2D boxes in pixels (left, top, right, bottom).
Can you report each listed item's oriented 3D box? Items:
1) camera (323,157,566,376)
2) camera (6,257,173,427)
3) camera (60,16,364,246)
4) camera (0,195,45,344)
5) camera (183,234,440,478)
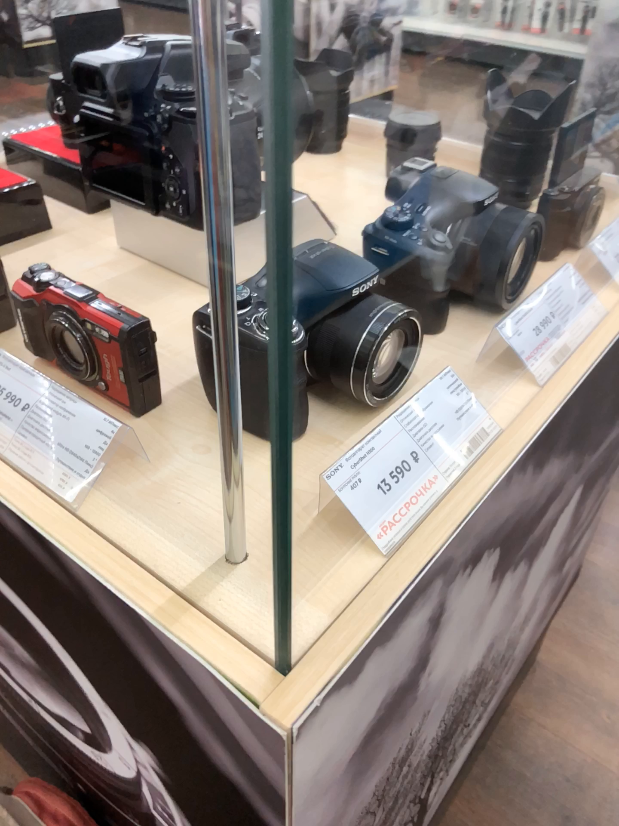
[{"bbox_3d":[0.099,-0.118,0.523,0.125,0.097,0.124,28,45,30],"label":"camera"},{"bbox_3d":[-0.137,-0.046,0.430,0.111,0.069,0.026,26,44,28],"label":"camera"},{"bbox_3d":[-0.064,-0.219,0.511,0.132,0.106,0.168,26,44,28],"label":"camera"},{"bbox_3d":[-0.238,-0.103,0.485,0.111,0.069,0.026,28,45,30],"label":"camera"},{"bbox_3d":[0.003,-0.042,0.420,0.092,0.078,0.124,28,45,30],"label":"camera"}]
